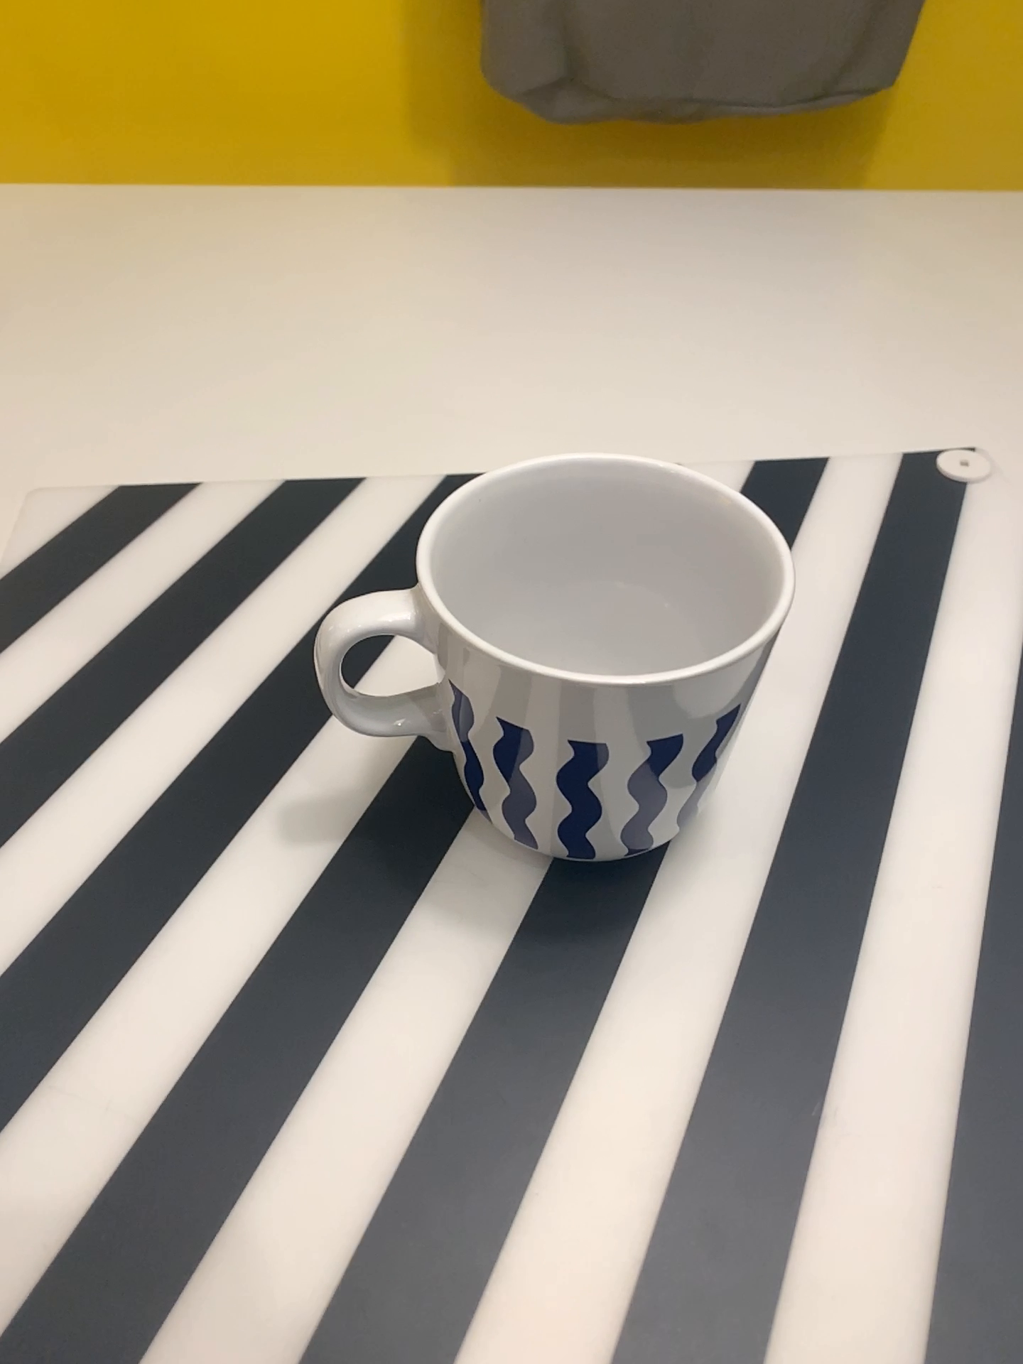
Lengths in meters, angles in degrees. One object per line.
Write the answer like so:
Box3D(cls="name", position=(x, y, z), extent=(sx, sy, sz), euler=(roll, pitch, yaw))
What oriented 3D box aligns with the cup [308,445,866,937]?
Box3D(cls="cup", position=(0.010, -0.001, 0.265), extent=(0.110, 0.070, 0.090), euler=(-6, 44, -8))
